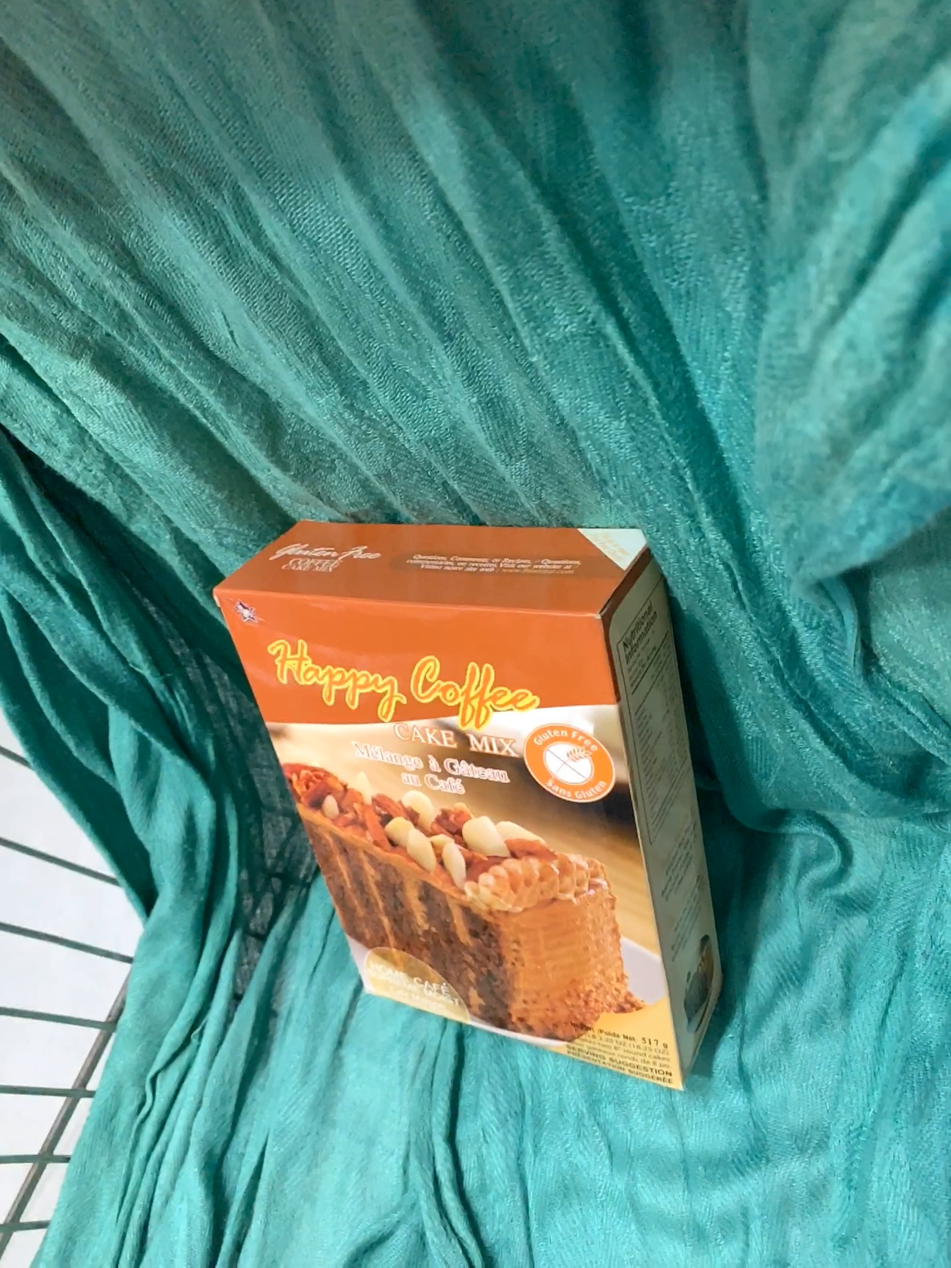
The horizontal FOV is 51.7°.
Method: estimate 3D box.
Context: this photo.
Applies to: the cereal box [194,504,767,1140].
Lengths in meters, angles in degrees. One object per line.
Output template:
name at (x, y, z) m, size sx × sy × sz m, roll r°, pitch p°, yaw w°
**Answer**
cereal box at (0.011, 0.062, 0.336) m, size 0.151 × 0.209 × 0.050 m, roll 5°, pitch 33°, yaw 30°
